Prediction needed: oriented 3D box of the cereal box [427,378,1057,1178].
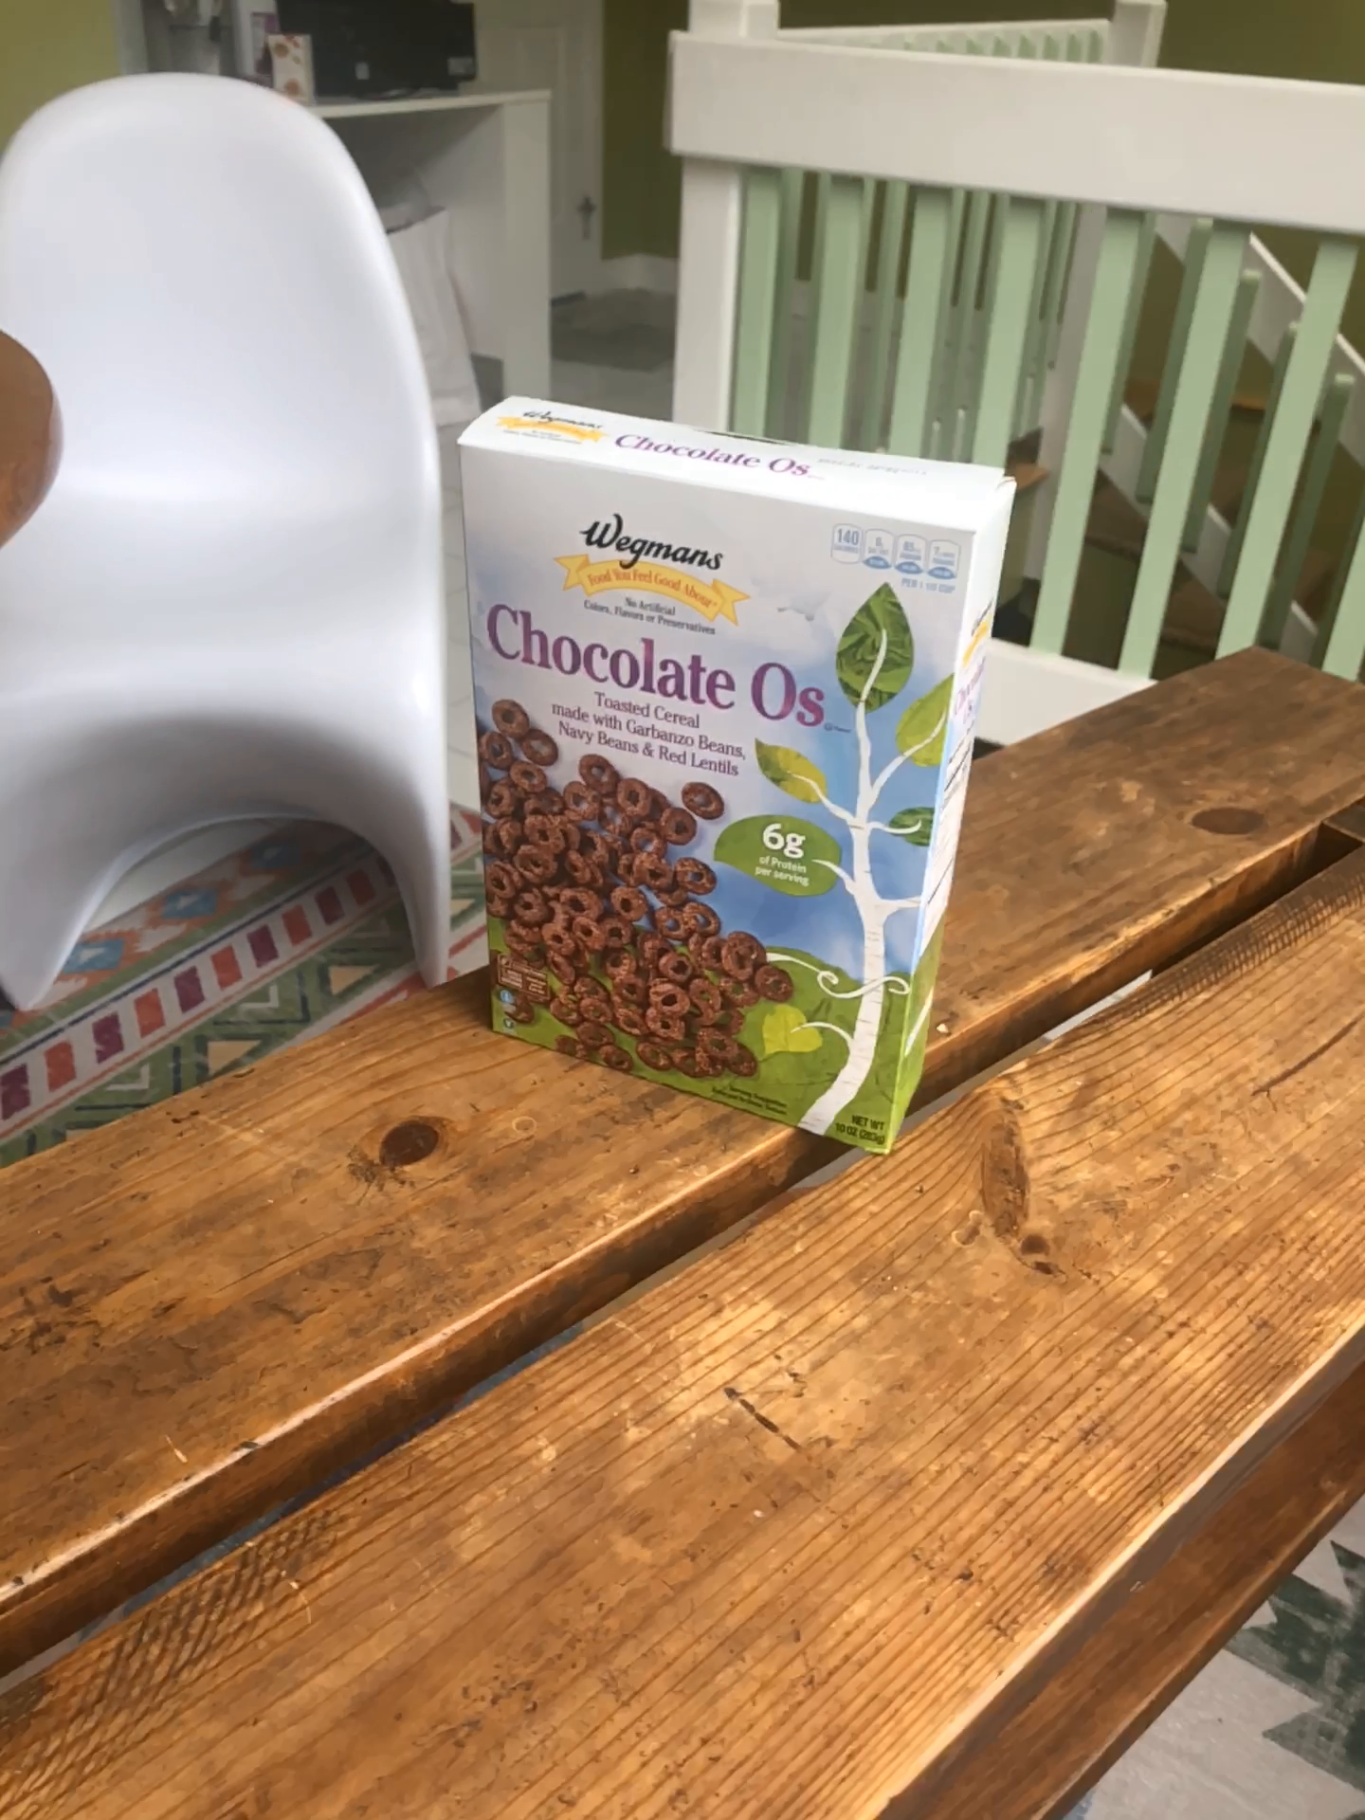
[{"bbox_3d":[0.015,-0.047,0.595,0.210,0.278,0.060,15,36,18],"label":"cereal box"}]
